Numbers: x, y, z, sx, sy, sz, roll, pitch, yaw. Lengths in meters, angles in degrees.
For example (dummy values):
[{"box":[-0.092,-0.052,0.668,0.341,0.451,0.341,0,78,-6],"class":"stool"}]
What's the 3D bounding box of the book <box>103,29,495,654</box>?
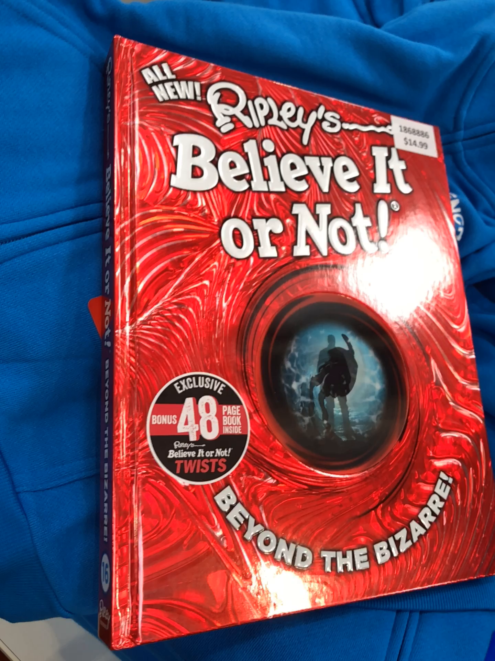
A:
[{"box":[0.043,-0.004,0.328,0.245,0.028,0.303,4,75,-26],"class":"book"}]
